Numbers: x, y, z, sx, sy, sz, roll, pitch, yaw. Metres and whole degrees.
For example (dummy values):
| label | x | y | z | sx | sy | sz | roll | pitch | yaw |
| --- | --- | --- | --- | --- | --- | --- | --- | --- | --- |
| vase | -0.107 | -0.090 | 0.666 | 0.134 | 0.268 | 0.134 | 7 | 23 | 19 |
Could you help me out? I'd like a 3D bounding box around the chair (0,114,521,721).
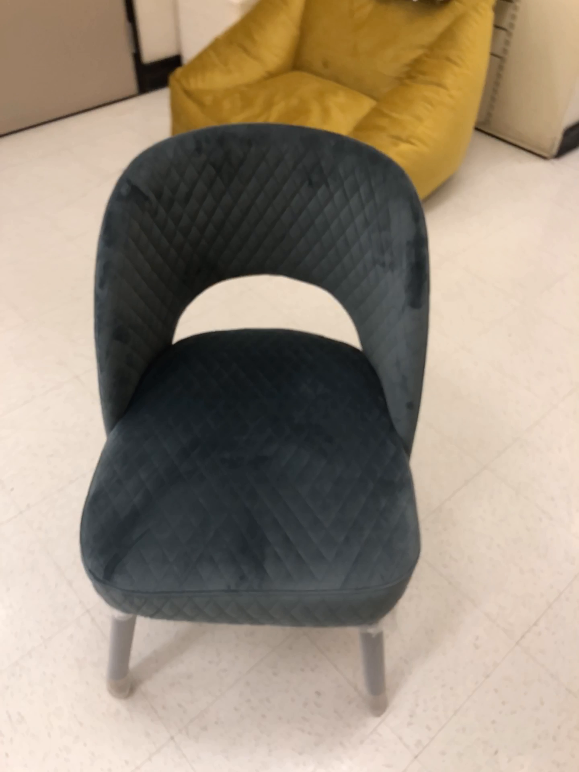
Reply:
| label | x | y | z | sx | sy | sz | roll | pitch | yaw |
| --- | --- | --- | --- | --- | --- | --- | --- | --- | --- |
| chair | -0.054 | 0.100 | 1.089 | 0.531 | 0.857 | 0.582 | 3 | 46 | 1 |
